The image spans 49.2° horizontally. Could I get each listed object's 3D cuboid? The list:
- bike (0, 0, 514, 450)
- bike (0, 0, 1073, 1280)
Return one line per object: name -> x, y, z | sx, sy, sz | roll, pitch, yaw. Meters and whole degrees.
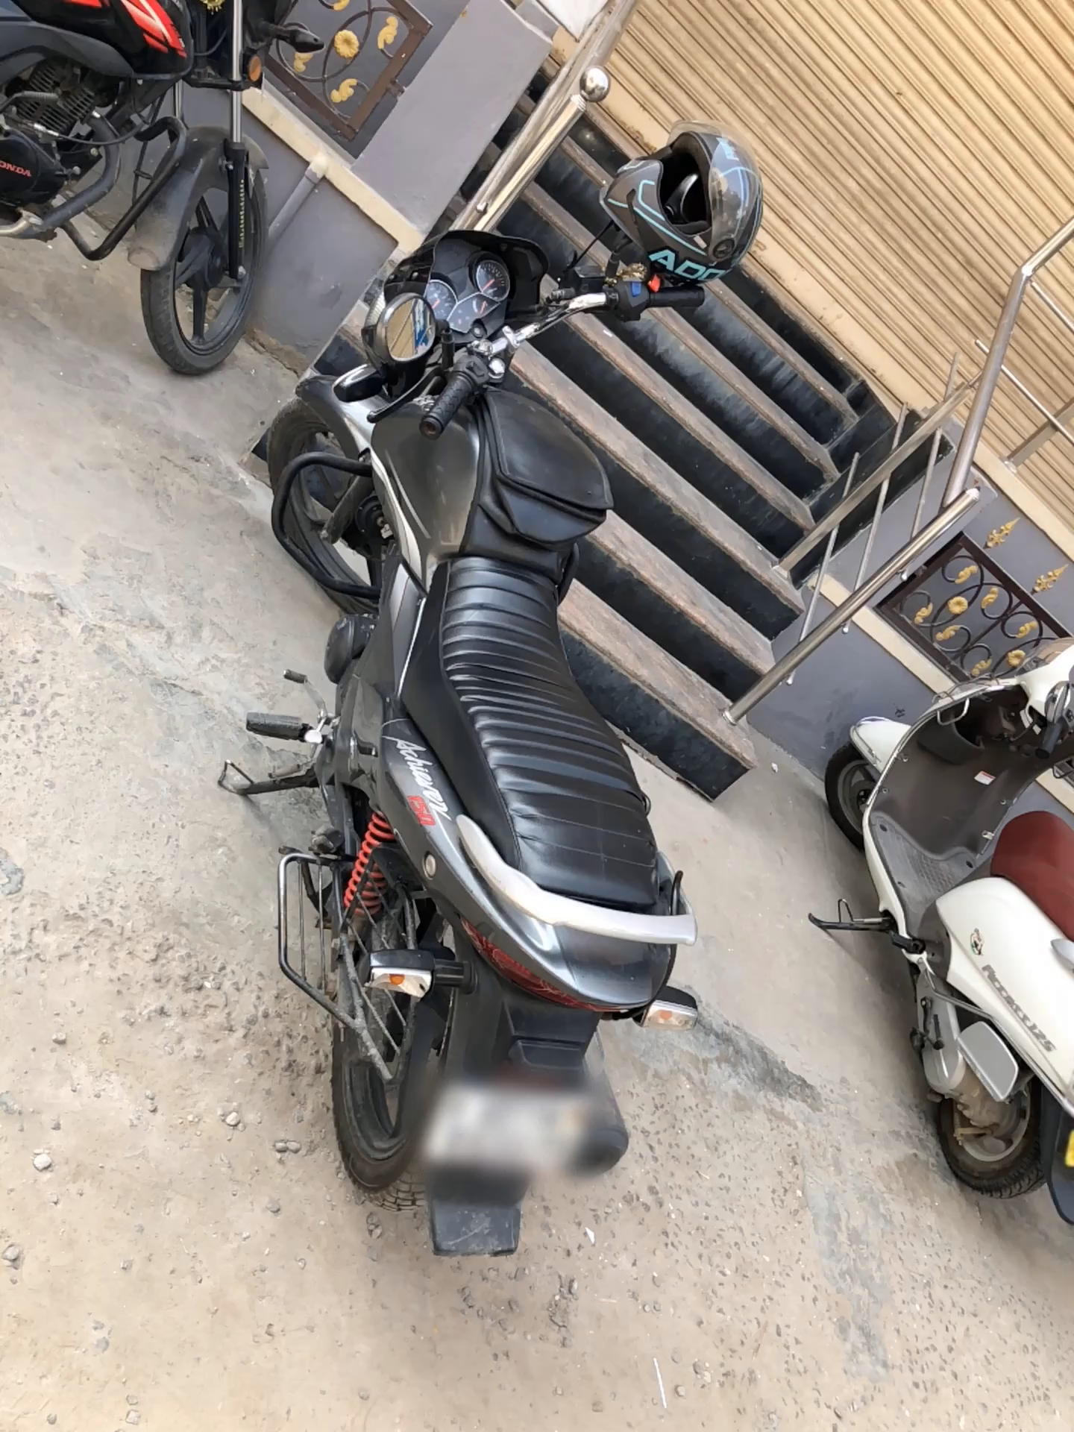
bike -> -0.970, -1.270, 2.334 | 0.683, 1.058, 1.606 | 51, 23, 14
bike -> -0.253, -0.336, 1.836 | 0.747, 1.157, 1.740 | 24, 34, -40
